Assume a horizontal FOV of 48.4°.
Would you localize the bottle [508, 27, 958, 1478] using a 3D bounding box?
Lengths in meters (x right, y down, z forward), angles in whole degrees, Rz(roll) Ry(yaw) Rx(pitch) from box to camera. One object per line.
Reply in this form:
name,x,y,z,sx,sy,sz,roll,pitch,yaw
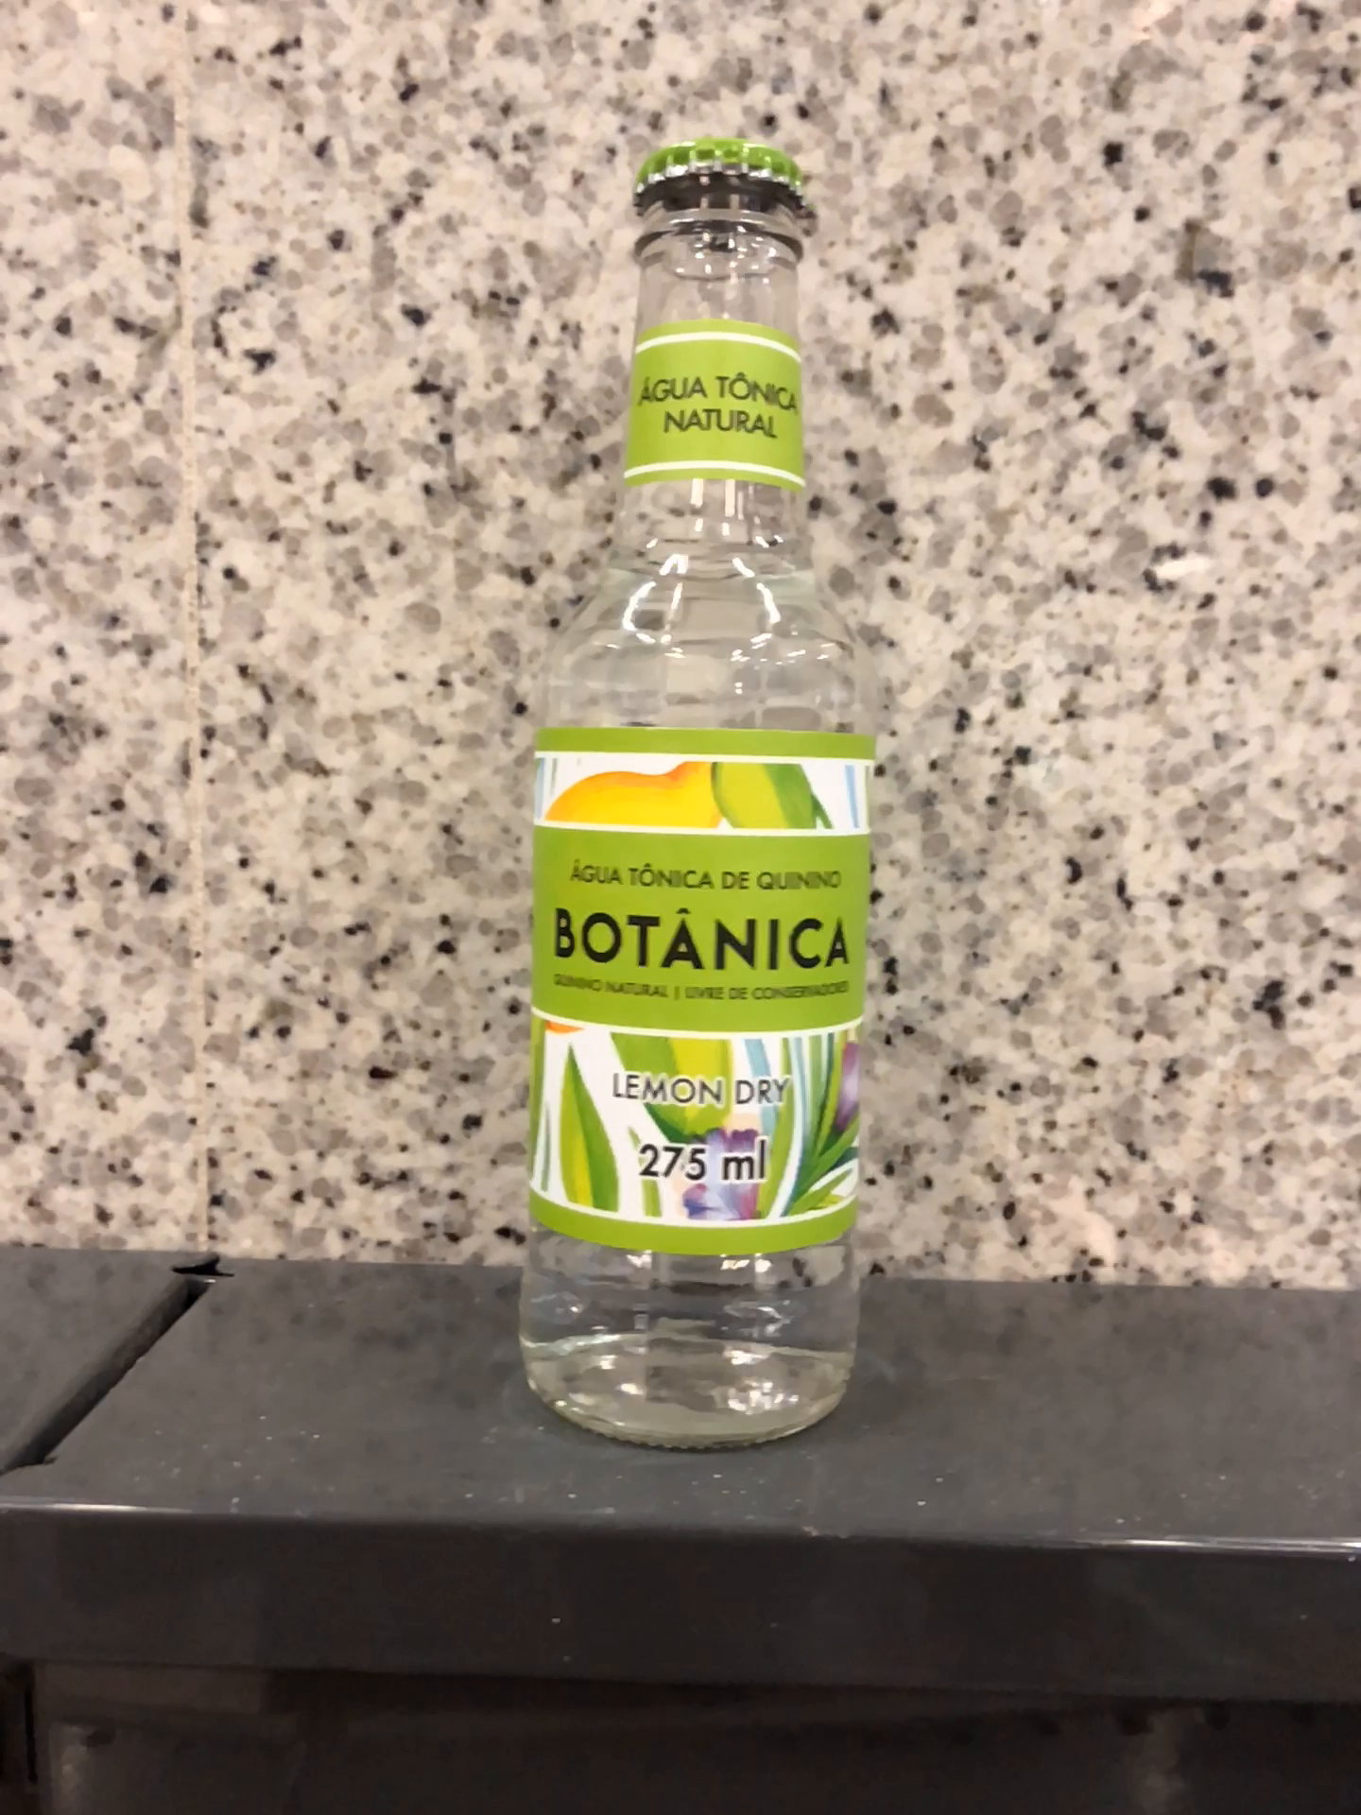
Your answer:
bottle,0.004,-0.020,0.252,0.060,0.209,0.060,2,7,0
